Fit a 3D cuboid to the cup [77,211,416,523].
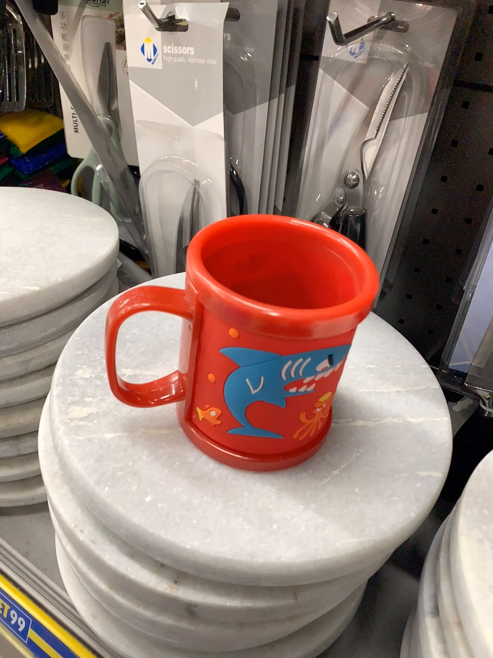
[{"bbox_3d":[-0.008,0.012,0.236,0.120,0.100,0.080,-7,38,-16],"label":"cup"}]
